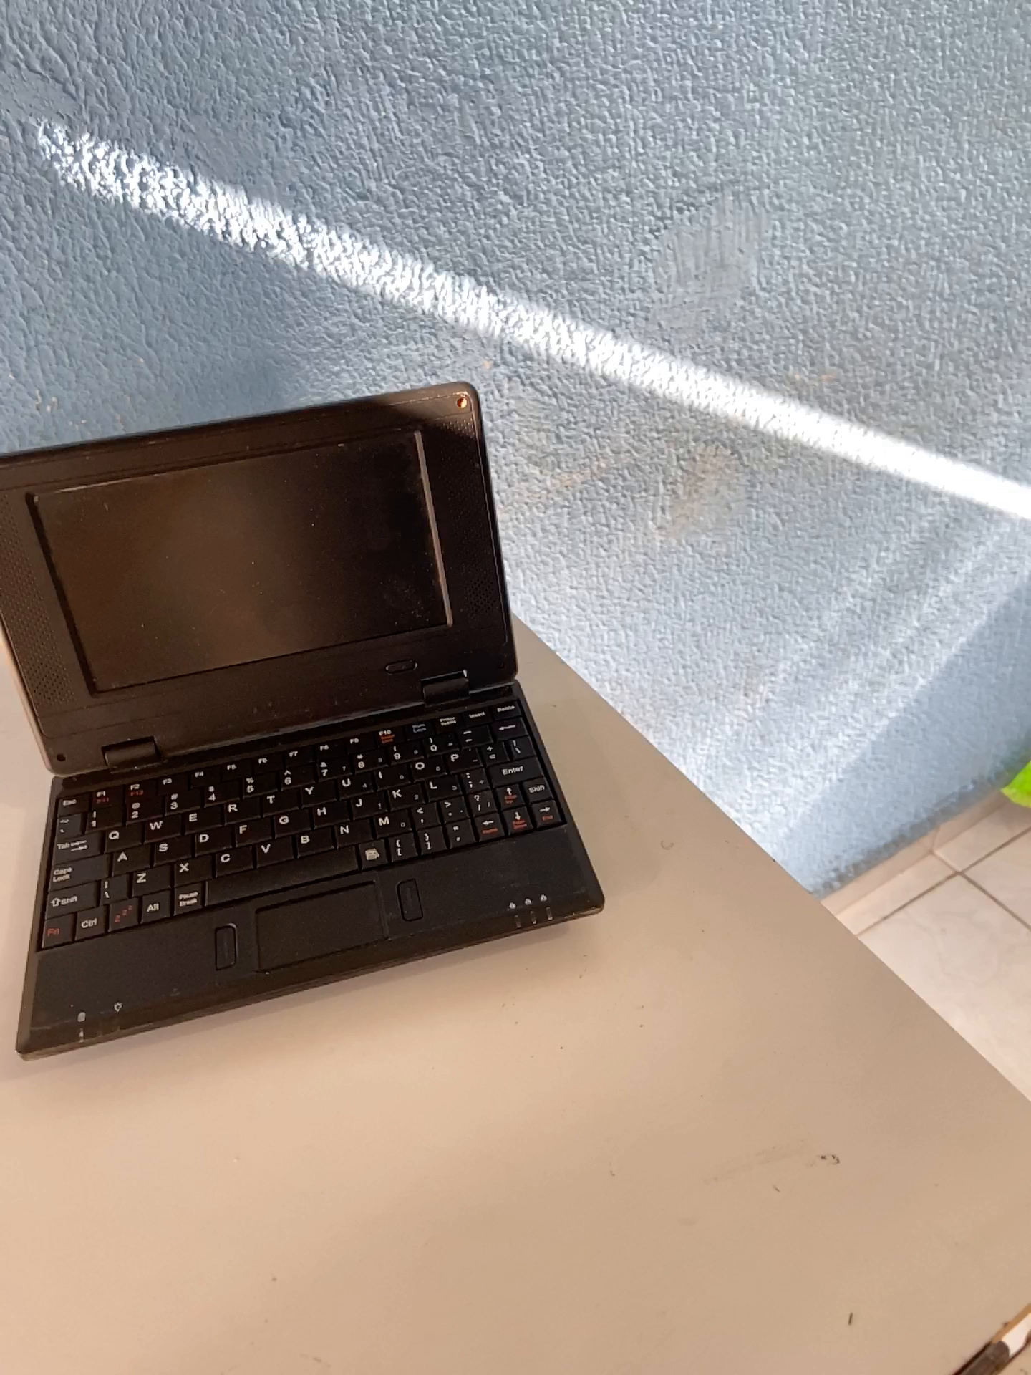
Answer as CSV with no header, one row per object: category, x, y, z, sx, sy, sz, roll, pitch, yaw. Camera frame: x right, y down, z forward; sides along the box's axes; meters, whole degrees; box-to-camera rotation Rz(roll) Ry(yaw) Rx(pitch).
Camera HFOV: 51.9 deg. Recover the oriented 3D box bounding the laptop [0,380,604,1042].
laptop,-0.098,-0.003,0.417,0.216,0.137,0.180,-12,41,-9
